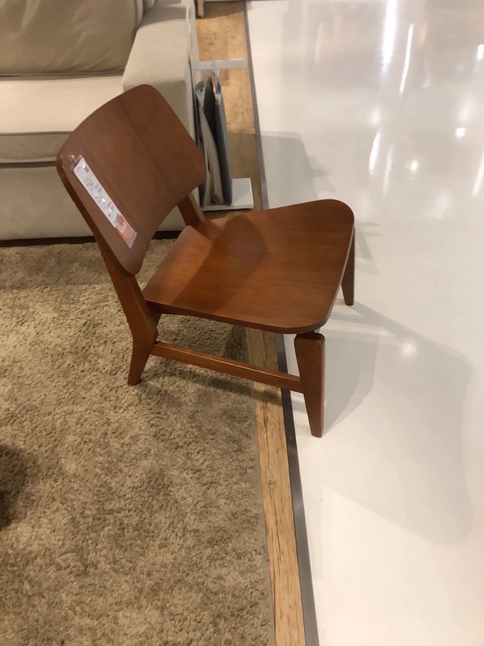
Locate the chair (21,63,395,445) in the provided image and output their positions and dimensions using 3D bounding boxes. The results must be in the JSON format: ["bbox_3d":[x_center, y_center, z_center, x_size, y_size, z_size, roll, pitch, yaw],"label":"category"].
[{"bbox_3d":[-0.017,-0.191,1.346,0.630,0.655,0.584,11,45,13],"label":"chair"}]
